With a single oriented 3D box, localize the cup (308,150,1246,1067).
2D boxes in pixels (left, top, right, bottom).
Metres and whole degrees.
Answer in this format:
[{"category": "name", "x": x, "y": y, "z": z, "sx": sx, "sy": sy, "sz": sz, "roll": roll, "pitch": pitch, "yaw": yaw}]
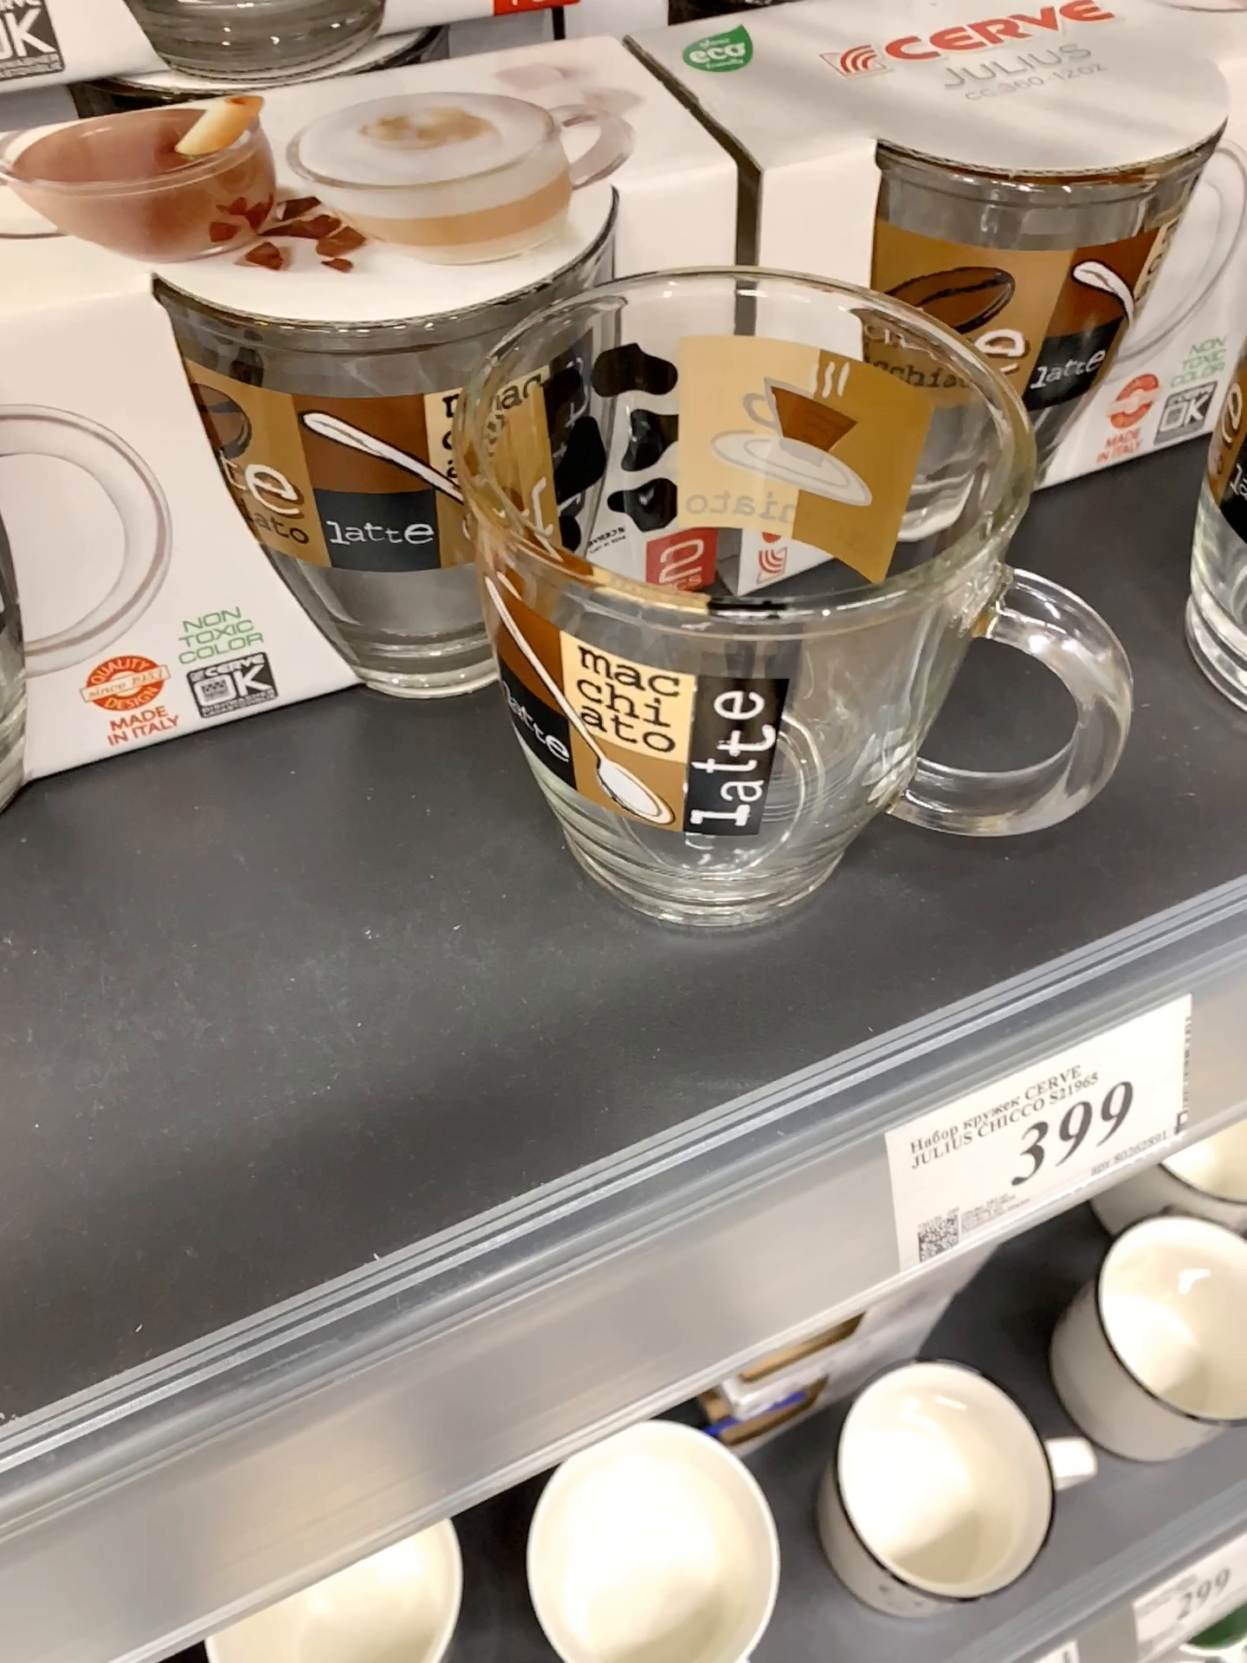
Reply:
[{"category": "cup", "x": 0.028, "y": -0.040, "z": 0.220, "sx": 0.118, "sy": 0.086, "sz": 0.084, "roll": 25, "pitch": 56, "yaw": 17}]
